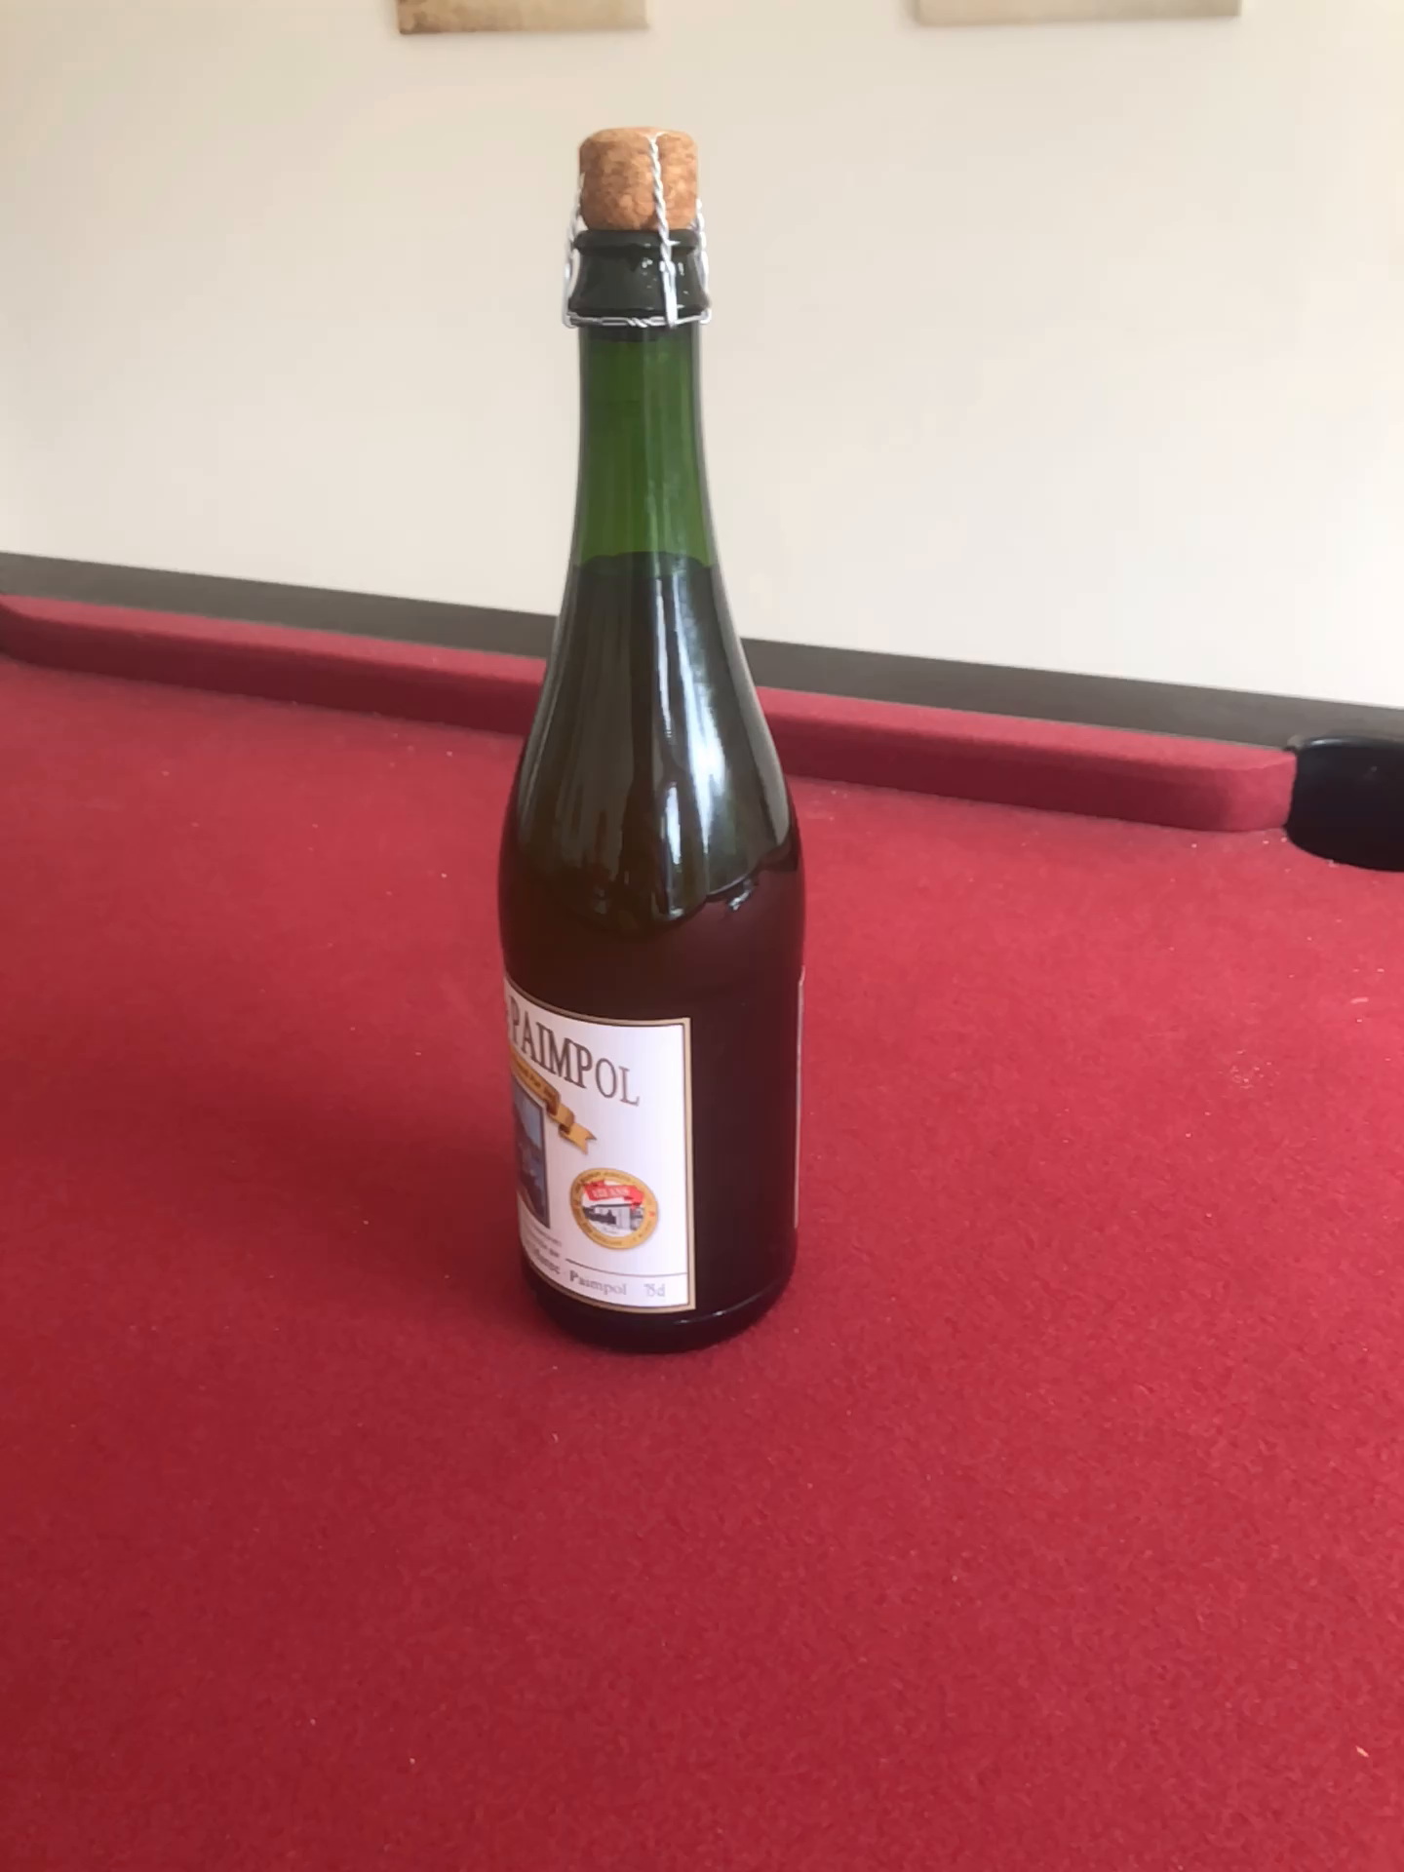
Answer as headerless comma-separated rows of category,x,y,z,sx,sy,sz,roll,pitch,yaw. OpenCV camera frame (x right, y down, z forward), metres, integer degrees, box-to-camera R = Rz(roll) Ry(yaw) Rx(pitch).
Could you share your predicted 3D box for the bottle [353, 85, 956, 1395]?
bottle,-0.013,-0.043,0.394,0.100,0.298,0.090,-12,28,-23
